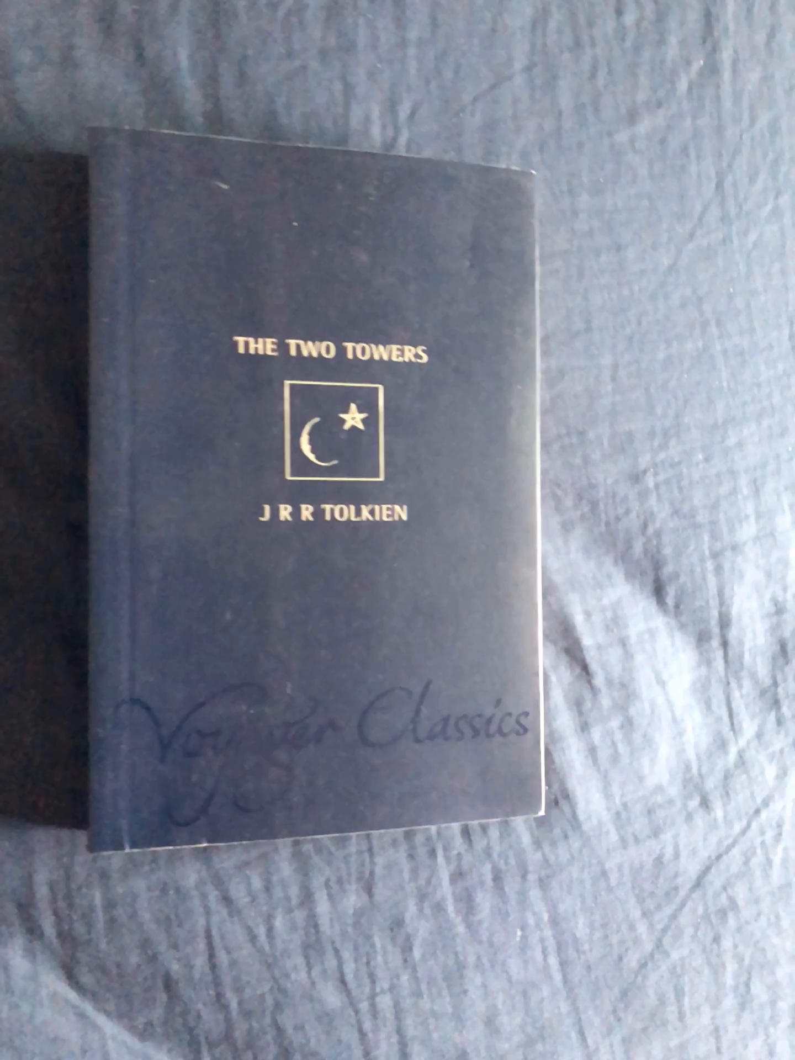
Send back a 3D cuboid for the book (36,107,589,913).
[{"bbox_3d":[-0.025,-0.007,0.257,0.140,0.060,0.190,-2,89,-18],"label":"book"}]
